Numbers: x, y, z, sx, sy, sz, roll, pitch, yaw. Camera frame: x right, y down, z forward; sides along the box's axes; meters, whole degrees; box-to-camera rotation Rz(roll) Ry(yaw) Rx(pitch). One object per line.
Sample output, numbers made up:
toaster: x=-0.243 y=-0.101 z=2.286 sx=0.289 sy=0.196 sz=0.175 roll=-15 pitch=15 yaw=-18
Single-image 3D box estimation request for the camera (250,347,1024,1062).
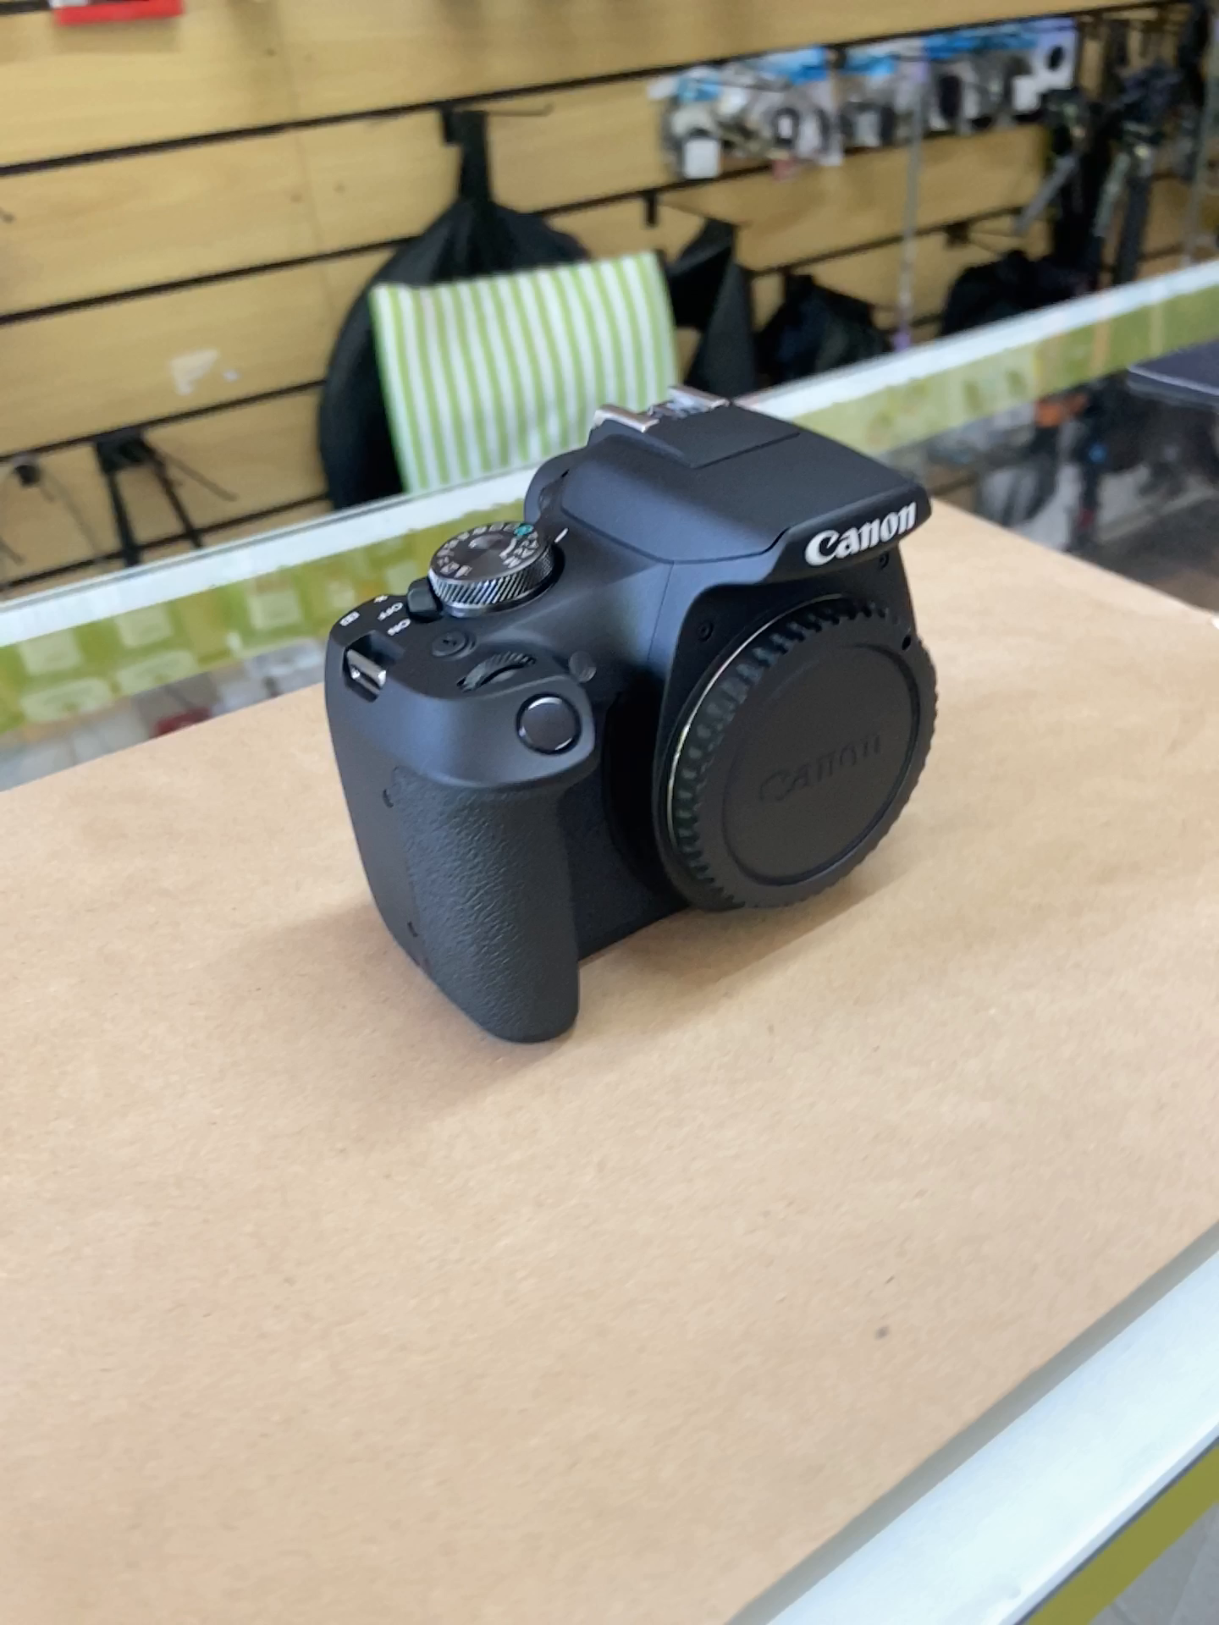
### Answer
camera: x=0.010 y=-0.030 z=0.267 sx=0.131 sy=0.093 sz=0.071 roll=-24 pitch=38 yaw=-25
